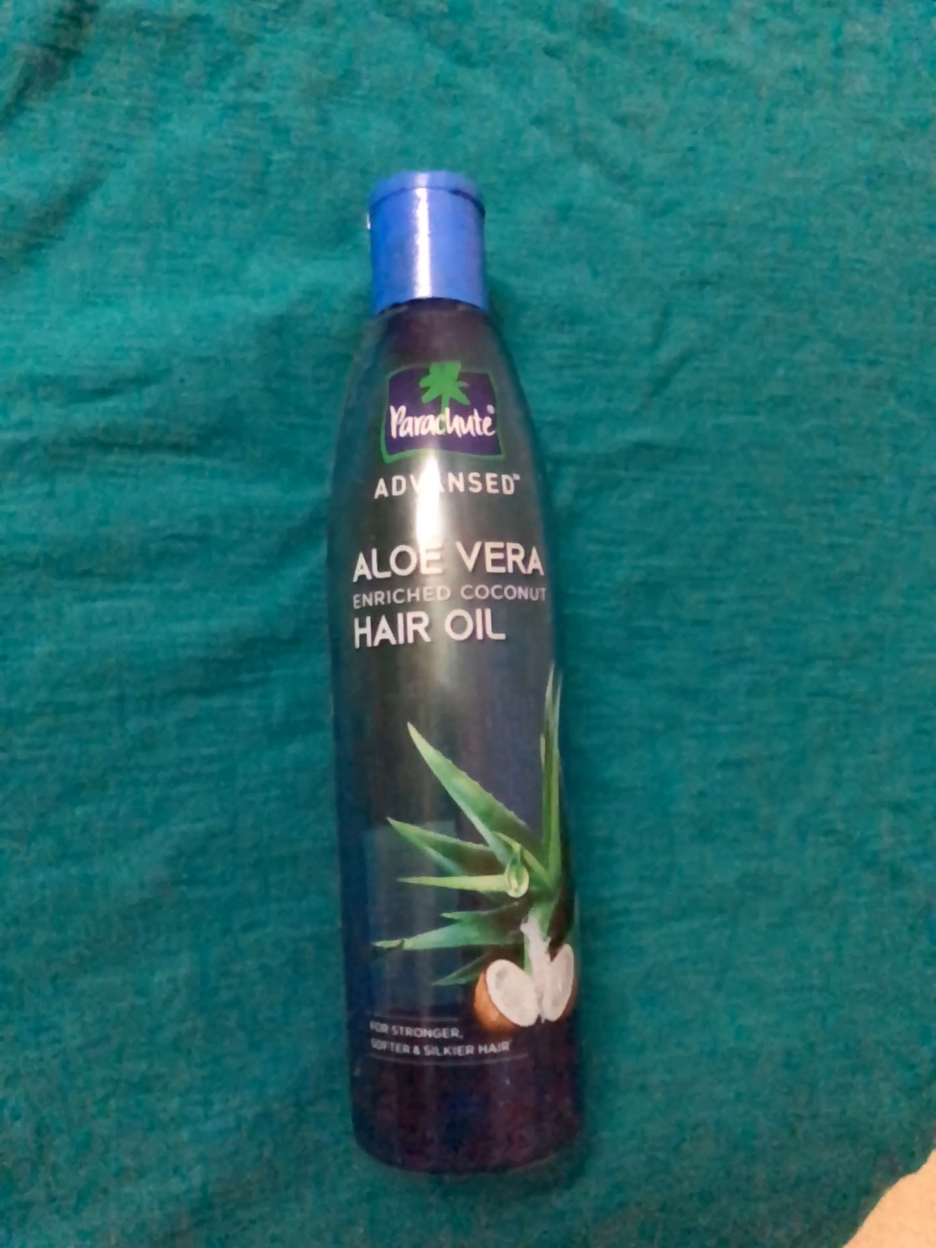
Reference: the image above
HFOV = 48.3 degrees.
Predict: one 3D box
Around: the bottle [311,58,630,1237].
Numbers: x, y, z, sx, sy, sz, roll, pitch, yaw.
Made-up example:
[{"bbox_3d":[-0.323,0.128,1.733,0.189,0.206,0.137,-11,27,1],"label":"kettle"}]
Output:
[{"bbox_3d":[-0.004,-0.001,0.208,0.050,0.040,0.210,-1,83,-9],"label":"bottle"}]
